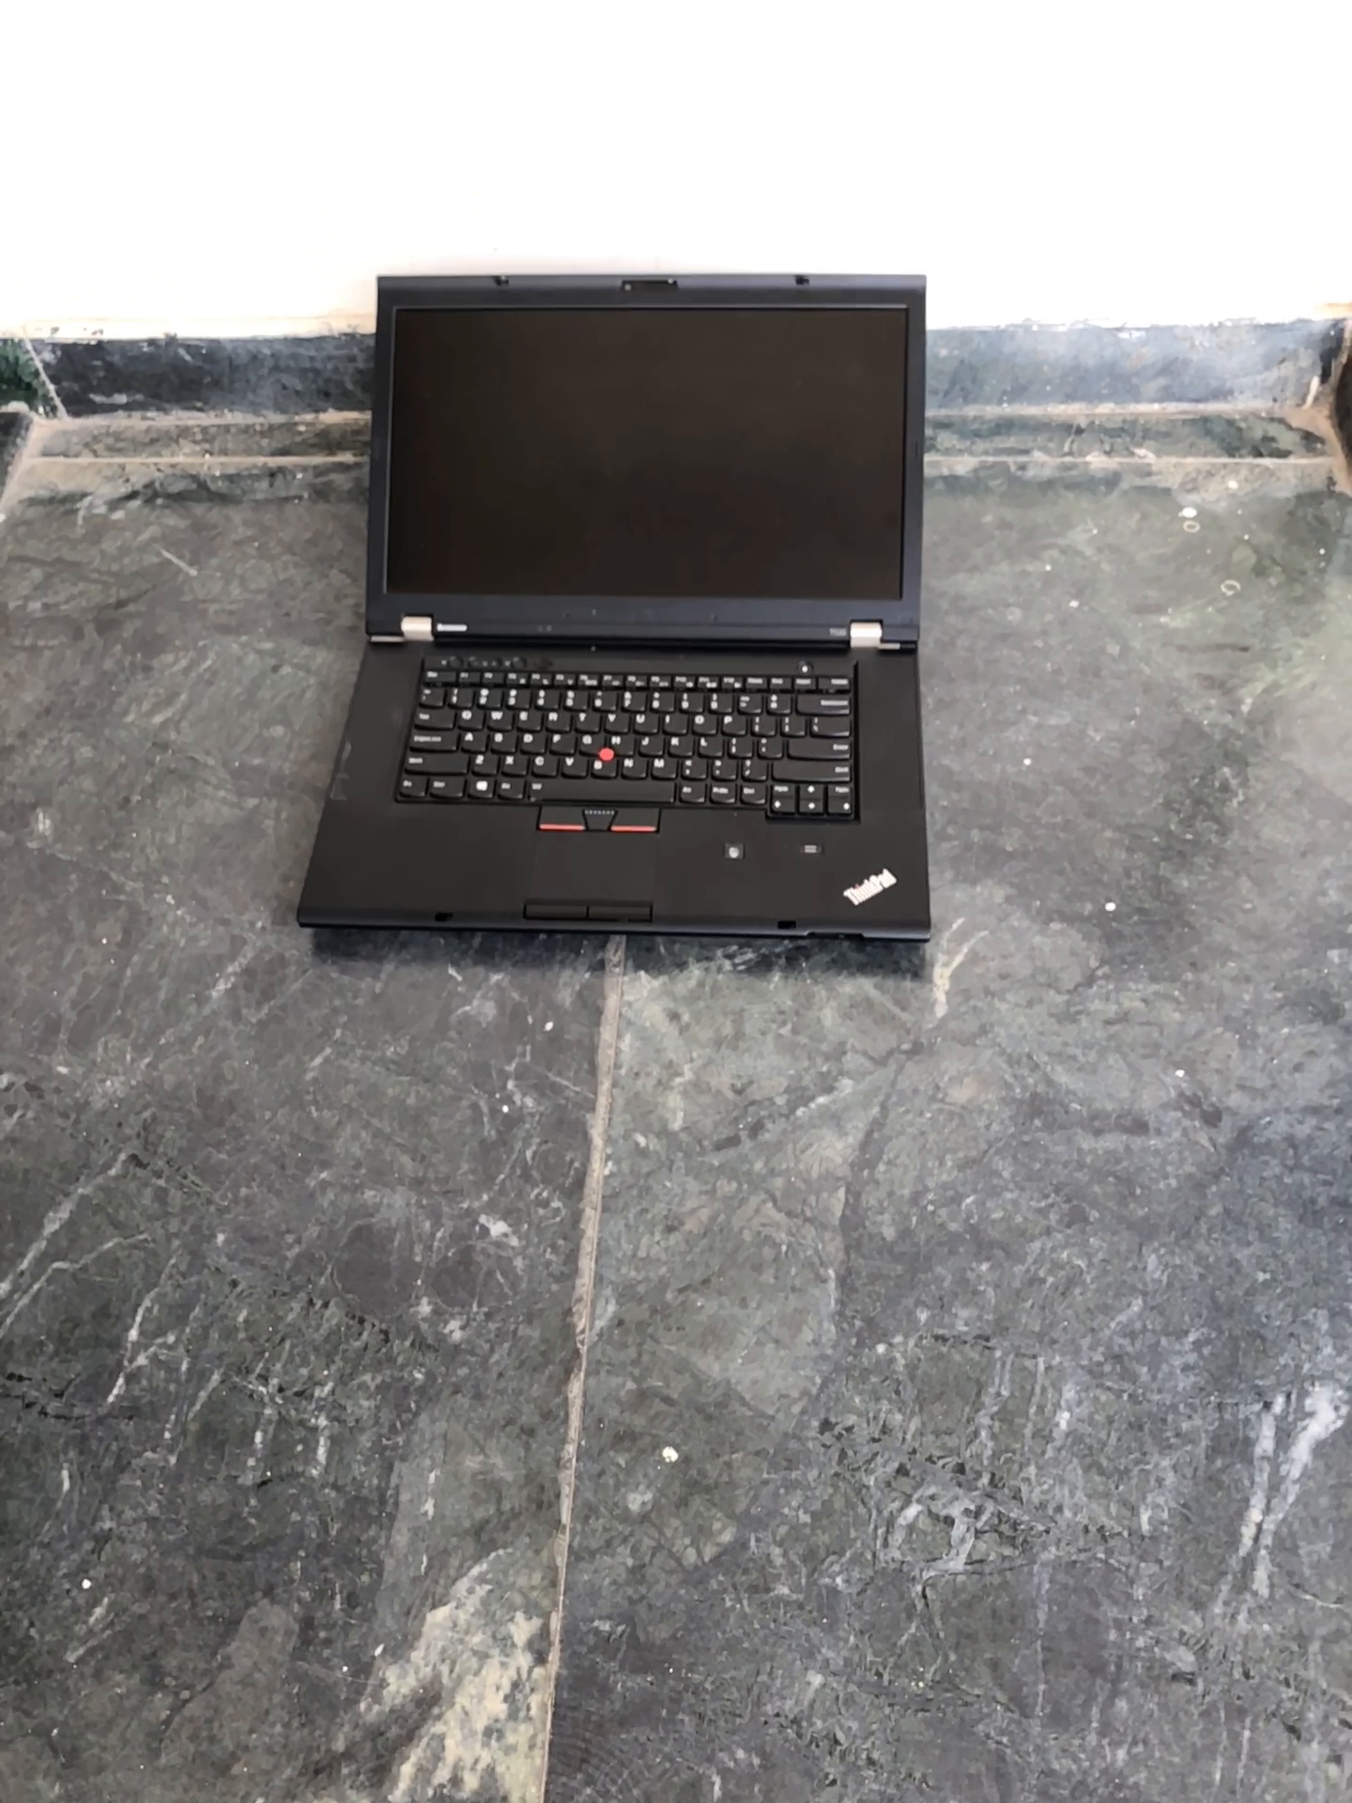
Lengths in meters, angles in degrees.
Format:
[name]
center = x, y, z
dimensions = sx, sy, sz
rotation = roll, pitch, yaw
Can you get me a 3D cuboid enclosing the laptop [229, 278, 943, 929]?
[laptop]
center = -0.026, -0.175, 0.803
dimensions = 0.311, 0.115, 0.377
rotation = 1, 54, 4
